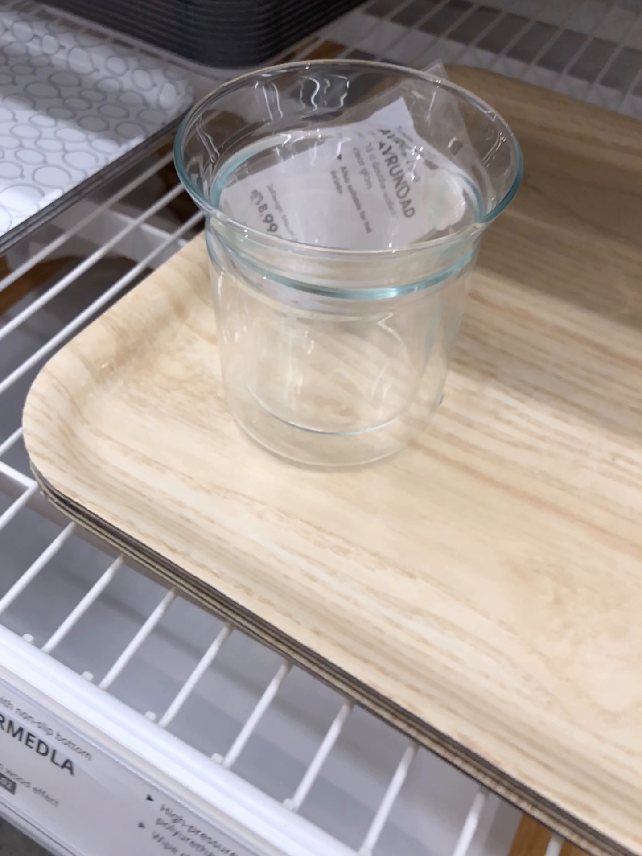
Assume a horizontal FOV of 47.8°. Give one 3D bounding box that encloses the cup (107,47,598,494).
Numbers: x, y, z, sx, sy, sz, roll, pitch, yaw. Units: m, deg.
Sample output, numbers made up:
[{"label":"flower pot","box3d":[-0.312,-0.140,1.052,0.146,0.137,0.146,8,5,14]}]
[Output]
[{"label":"cup","box3d":[0.000,-0.044,0.204,0.100,0.080,0.090,-3,51,-8]}]
